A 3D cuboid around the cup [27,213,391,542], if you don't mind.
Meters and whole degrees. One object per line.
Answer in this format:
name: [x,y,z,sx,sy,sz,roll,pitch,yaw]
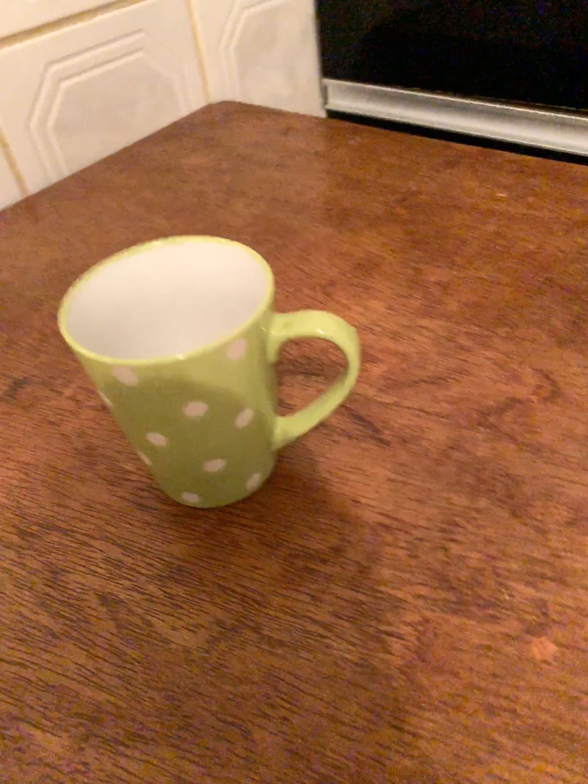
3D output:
cup: [-0.023,-0.005,0.263,0.120,0.099,0.091,-4,43,5]
